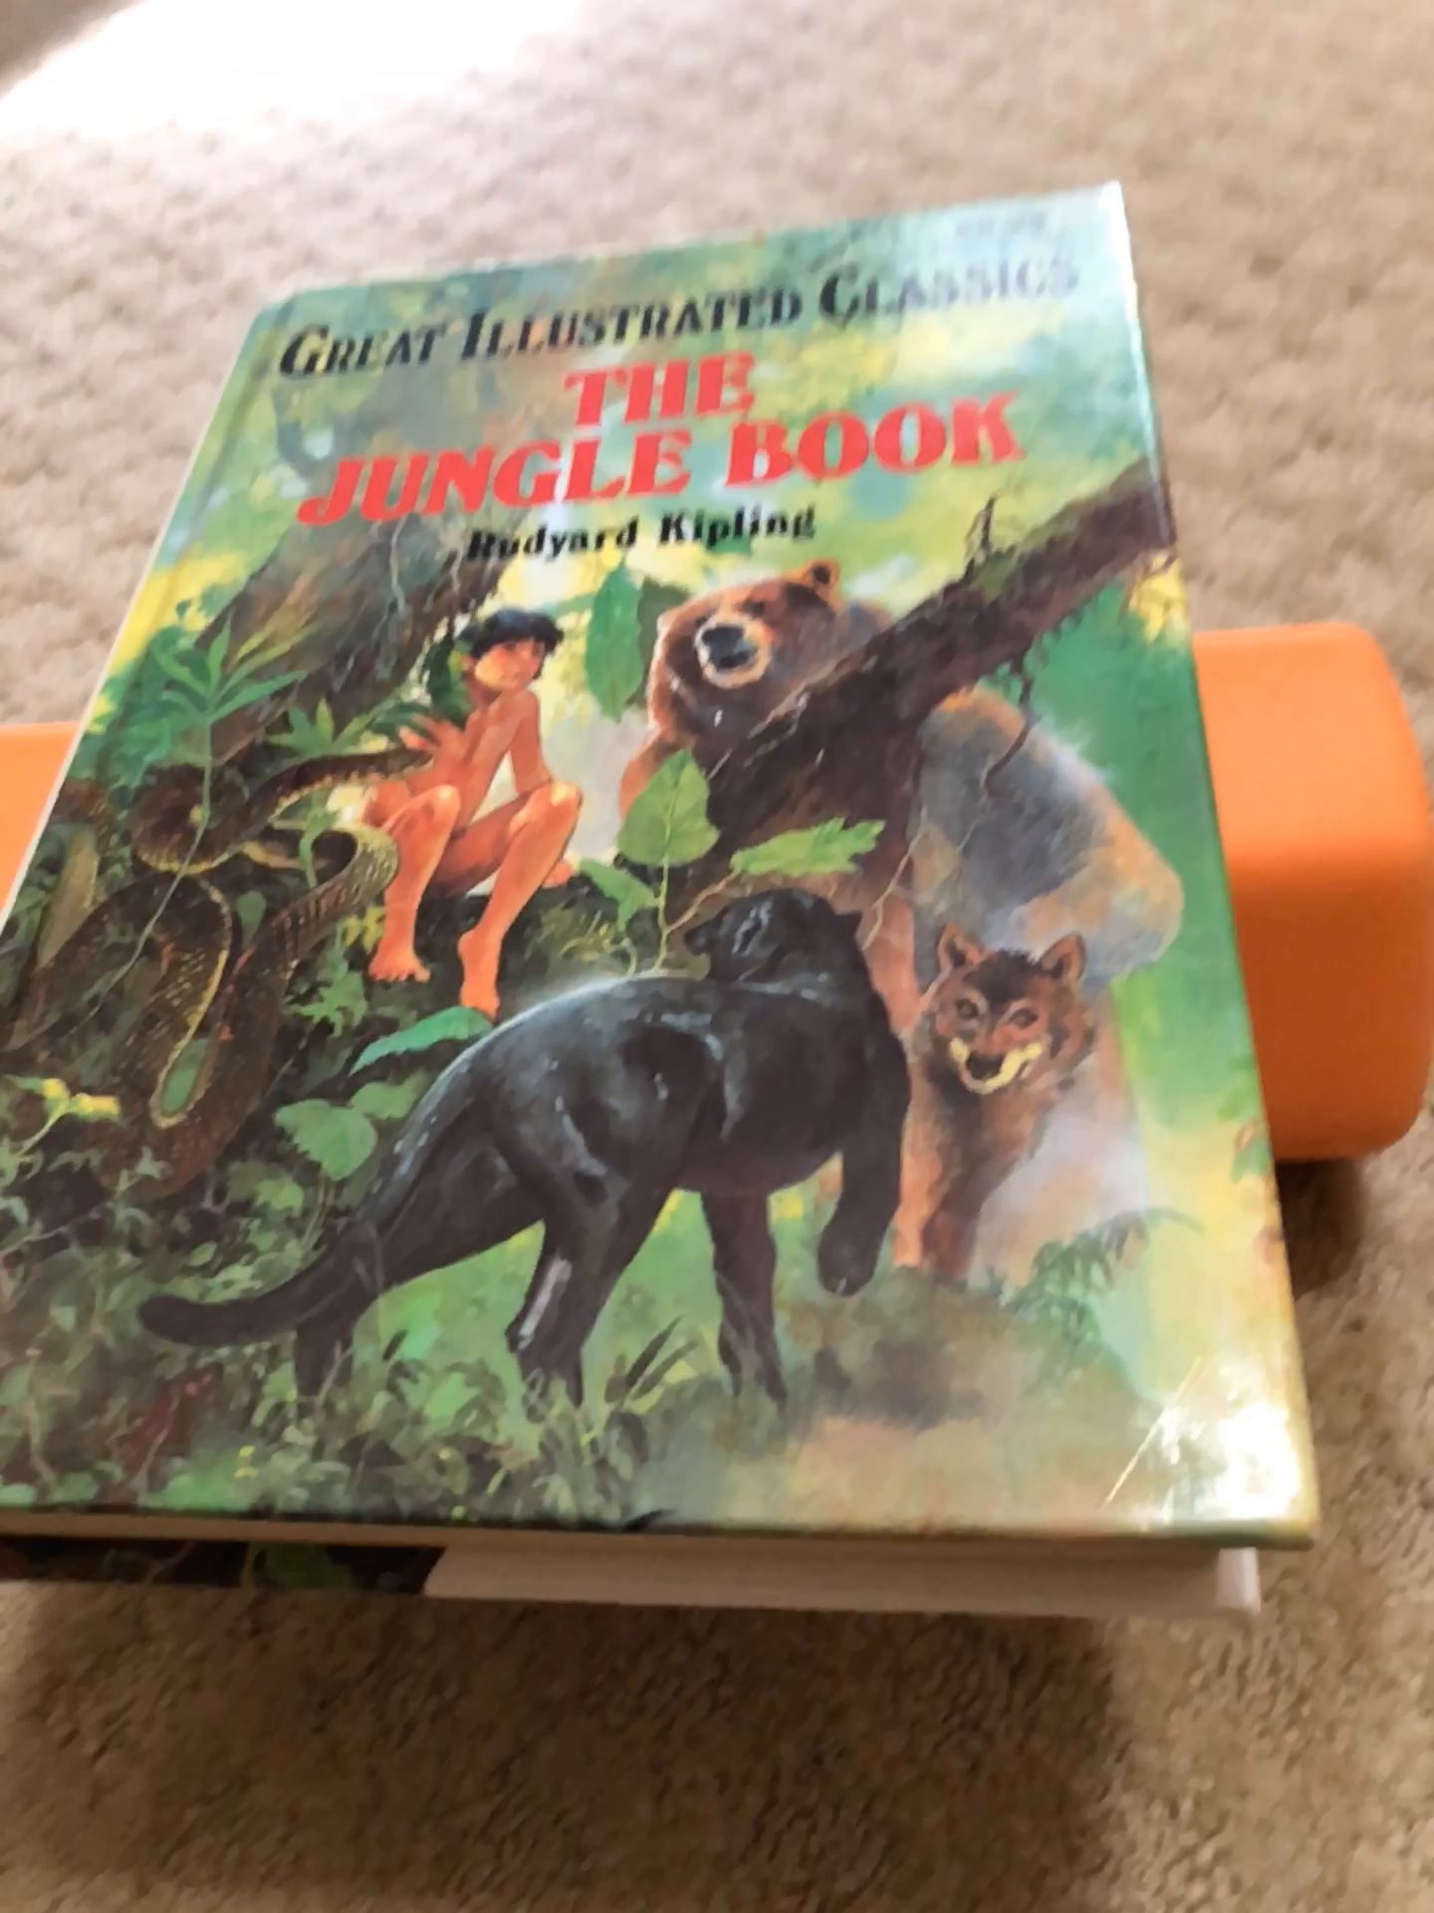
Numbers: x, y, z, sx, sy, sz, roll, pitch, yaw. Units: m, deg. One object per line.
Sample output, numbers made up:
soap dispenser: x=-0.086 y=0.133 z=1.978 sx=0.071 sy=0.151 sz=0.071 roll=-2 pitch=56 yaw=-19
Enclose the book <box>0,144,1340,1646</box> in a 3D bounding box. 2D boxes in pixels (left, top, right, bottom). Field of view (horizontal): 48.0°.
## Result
book: x=-0.012 y=-0.028 z=0.207 sx=0.140 sy=0.029 sz=0.208 roll=-2 pitch=54 yaw=9
